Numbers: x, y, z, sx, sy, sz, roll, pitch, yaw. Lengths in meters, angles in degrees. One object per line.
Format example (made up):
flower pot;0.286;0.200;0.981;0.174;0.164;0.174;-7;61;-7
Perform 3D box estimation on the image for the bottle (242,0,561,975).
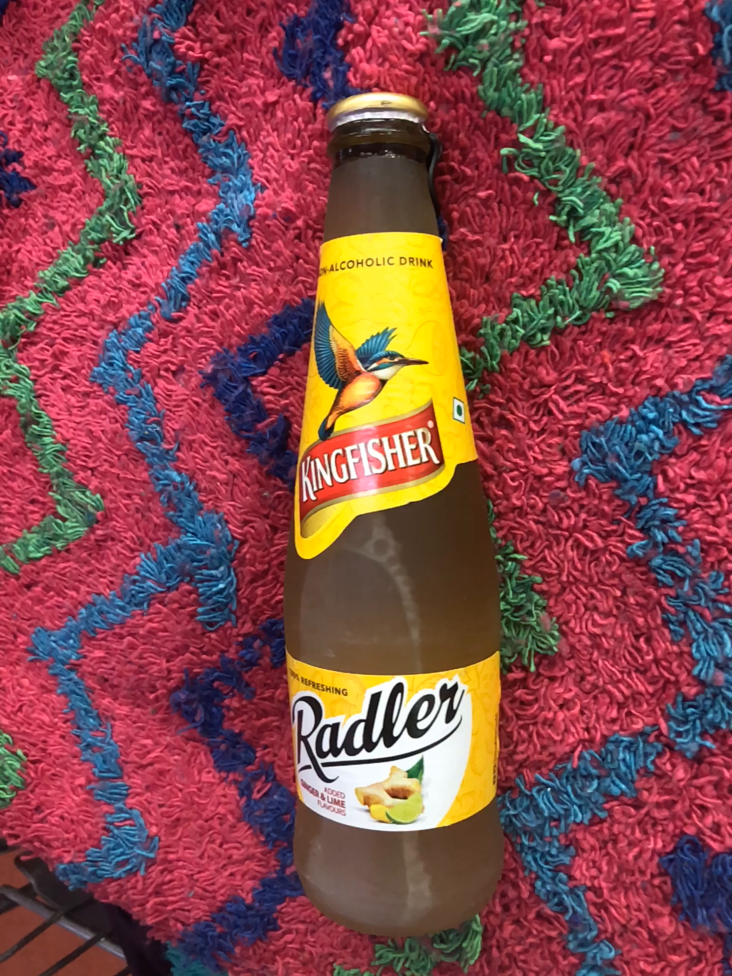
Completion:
bottle;0.014;0.001;0.211;0.060;0.060;0.210;1;96;26
